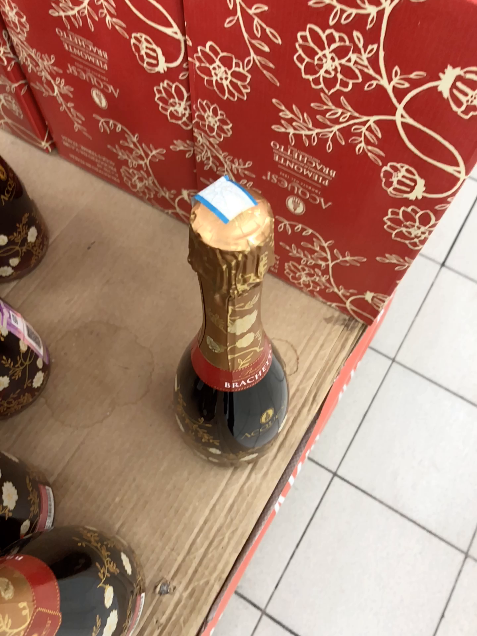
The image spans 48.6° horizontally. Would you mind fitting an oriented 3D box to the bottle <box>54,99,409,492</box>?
[{"bbox_3d":[-0.005,0.022,0.337,0.100,0.279,0.100,0,66,-1],"label":"bottle"}]
